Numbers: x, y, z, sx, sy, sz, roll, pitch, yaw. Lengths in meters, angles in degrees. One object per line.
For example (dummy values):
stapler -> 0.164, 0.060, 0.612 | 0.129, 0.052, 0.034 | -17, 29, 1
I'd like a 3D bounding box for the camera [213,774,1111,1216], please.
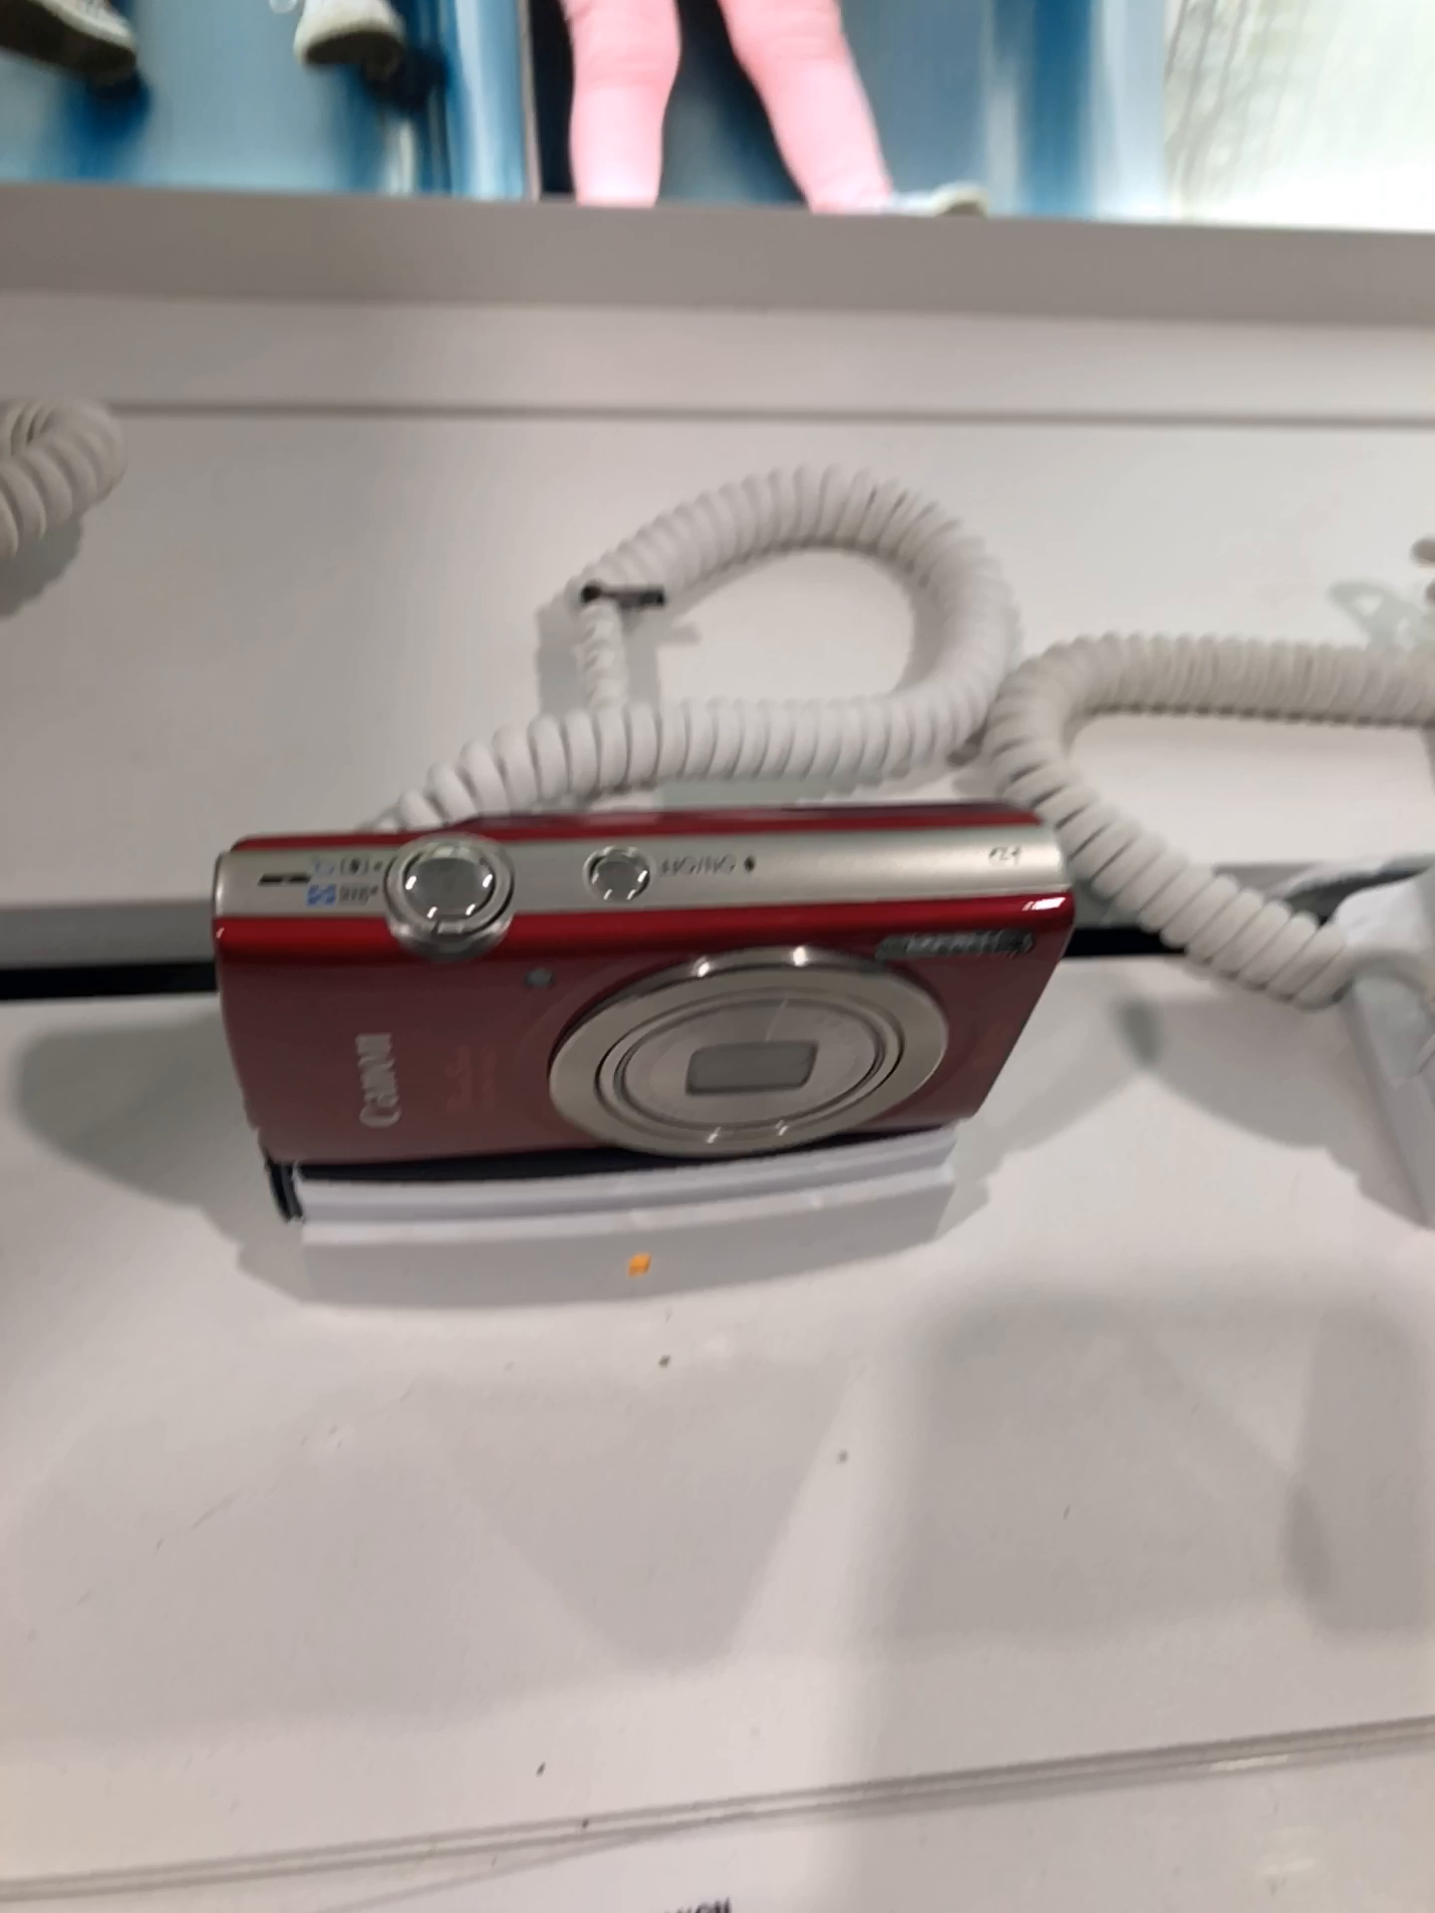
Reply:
camera -> -0.007, 0.005, 0.190 | 0.093, 0.050, 0.022 | -4, 55, -9
